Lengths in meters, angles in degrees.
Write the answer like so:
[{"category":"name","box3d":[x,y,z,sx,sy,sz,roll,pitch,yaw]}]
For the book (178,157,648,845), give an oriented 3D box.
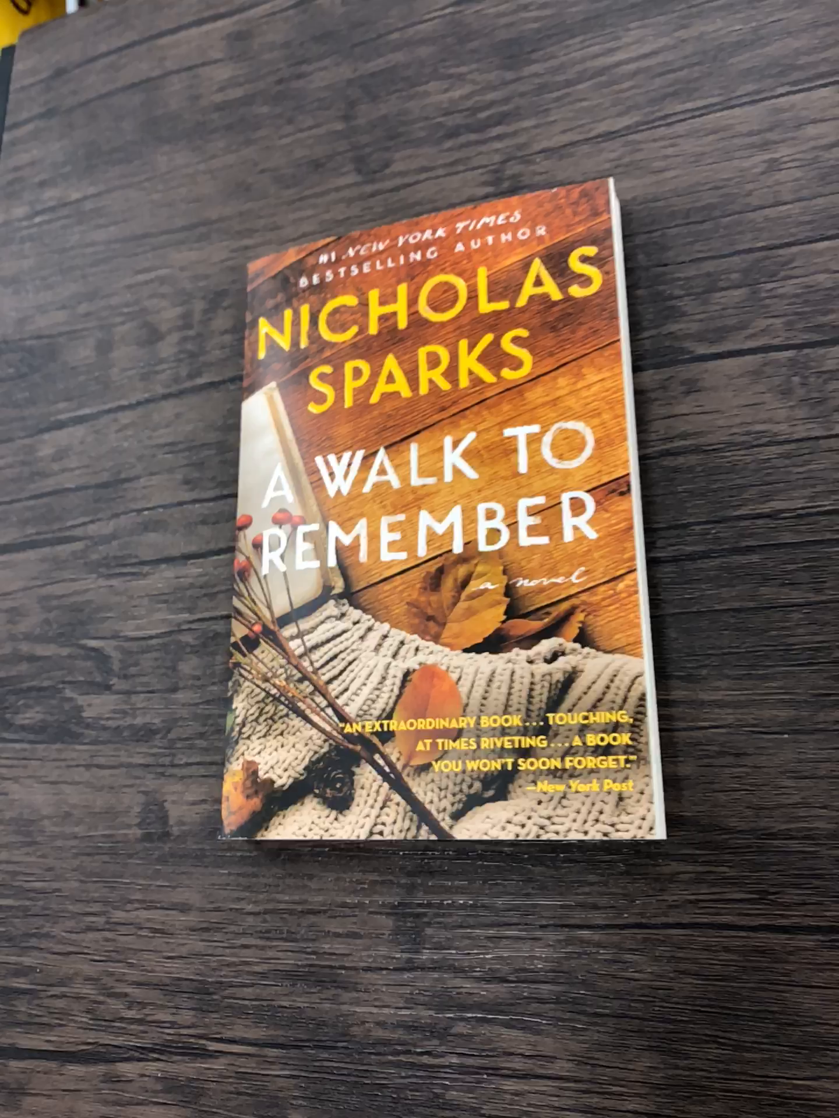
[{"category":"book","box3d":[-0.006,-0.017,0.288,0.132,0.020,0.200,-6,73,19]}]
